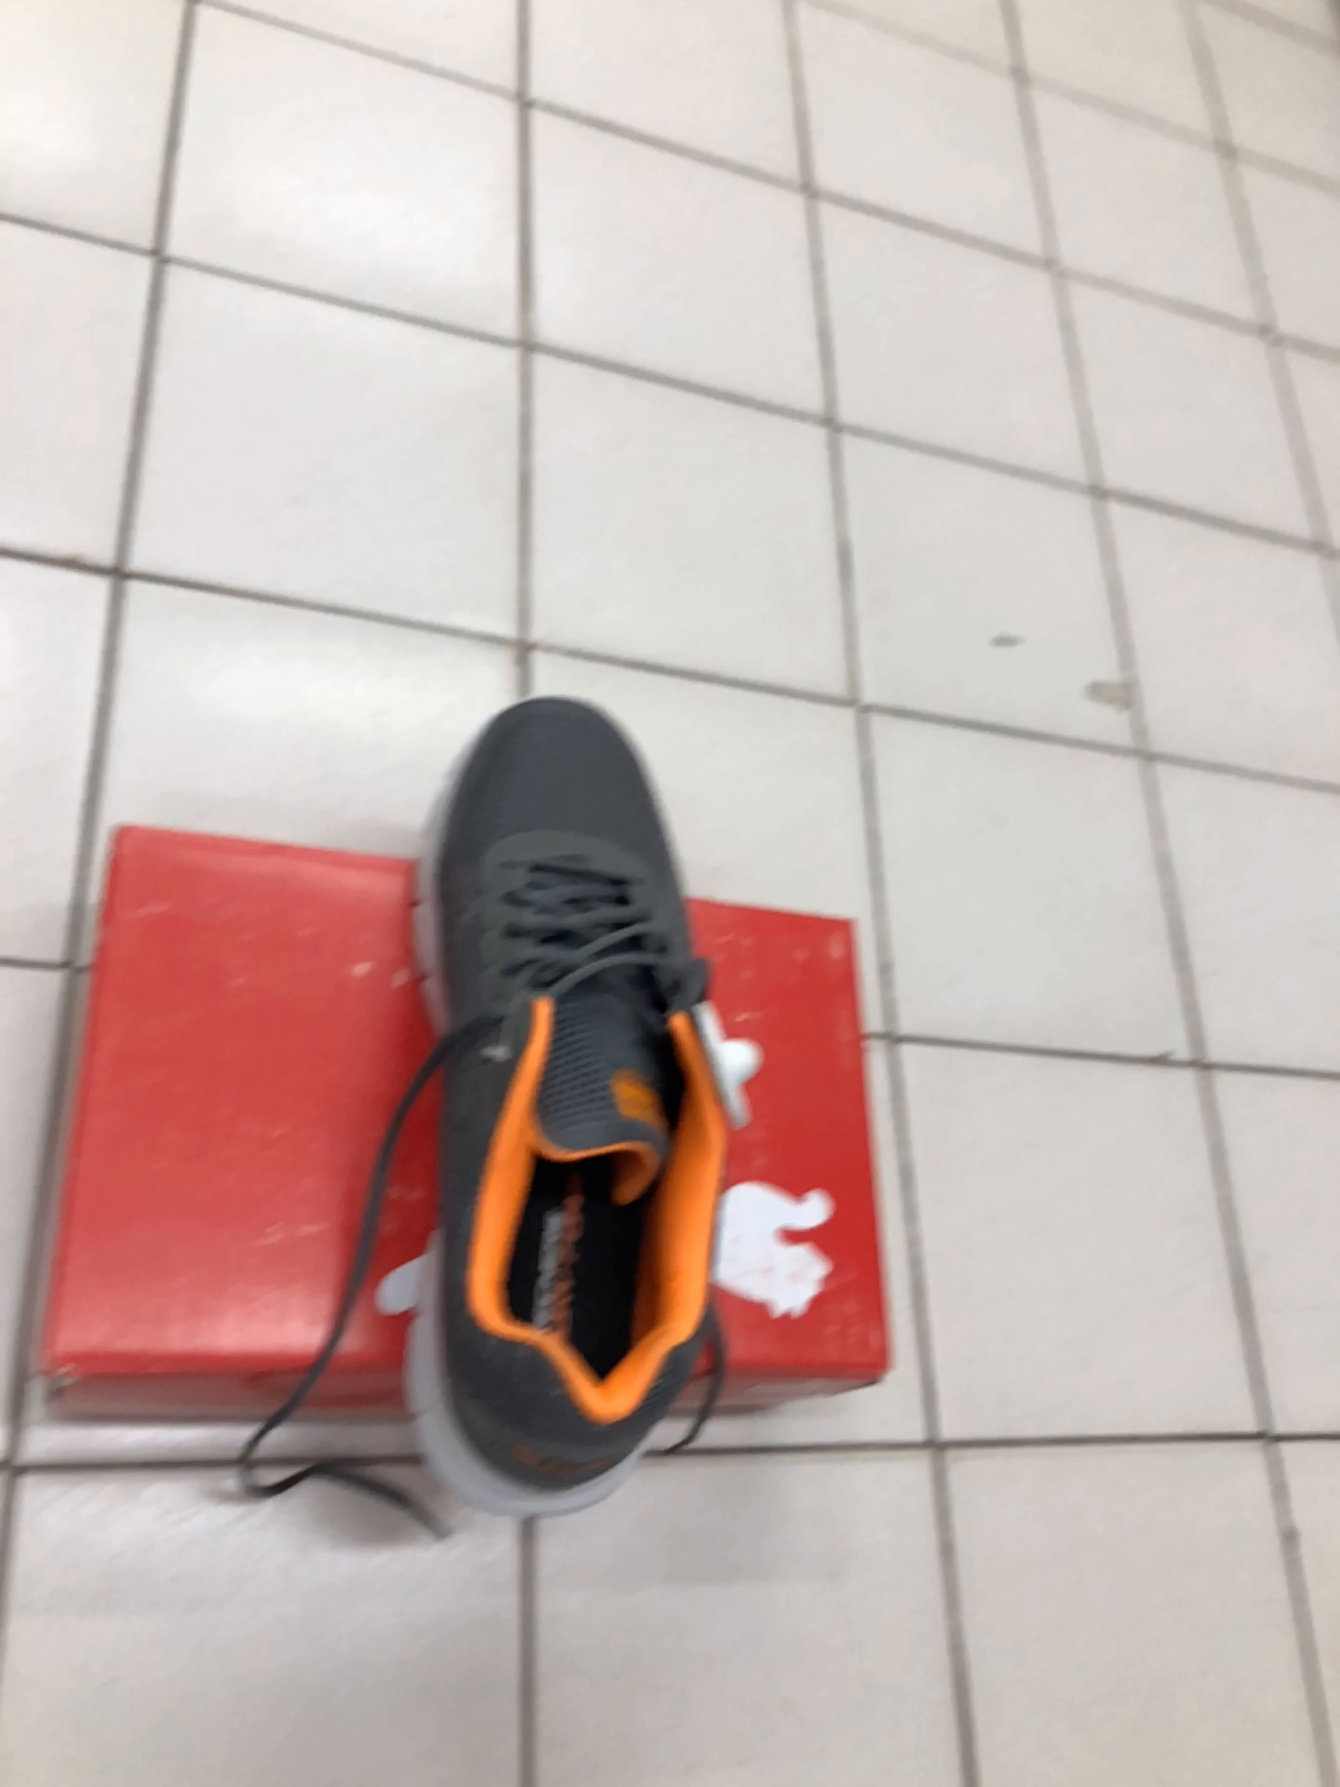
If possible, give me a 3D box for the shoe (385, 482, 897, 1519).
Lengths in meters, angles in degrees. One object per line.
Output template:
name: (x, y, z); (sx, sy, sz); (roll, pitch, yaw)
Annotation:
shoe: (-0.020, 0.041, 0.505); (0.110, 0.139, 0.311); (8, 65, -21)
